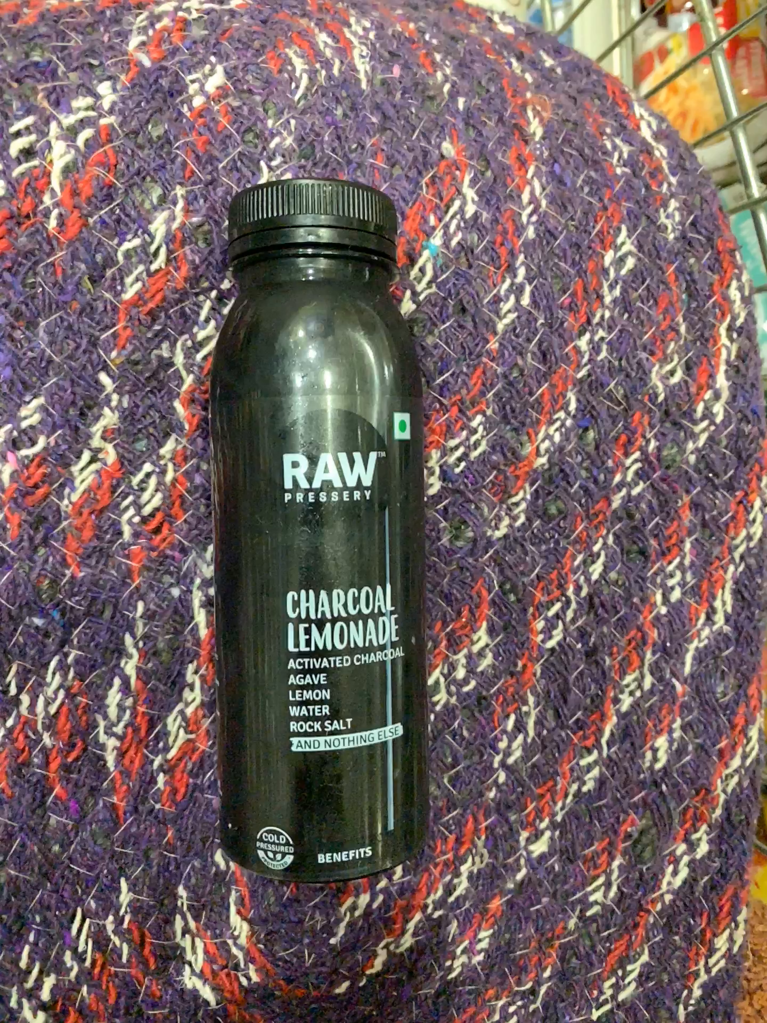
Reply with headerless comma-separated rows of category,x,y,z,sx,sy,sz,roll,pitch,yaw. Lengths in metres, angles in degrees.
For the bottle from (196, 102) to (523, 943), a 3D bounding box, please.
bottle,-0.010,0.004,0.184,0.060,0.050,0.160,-1,97,-18
